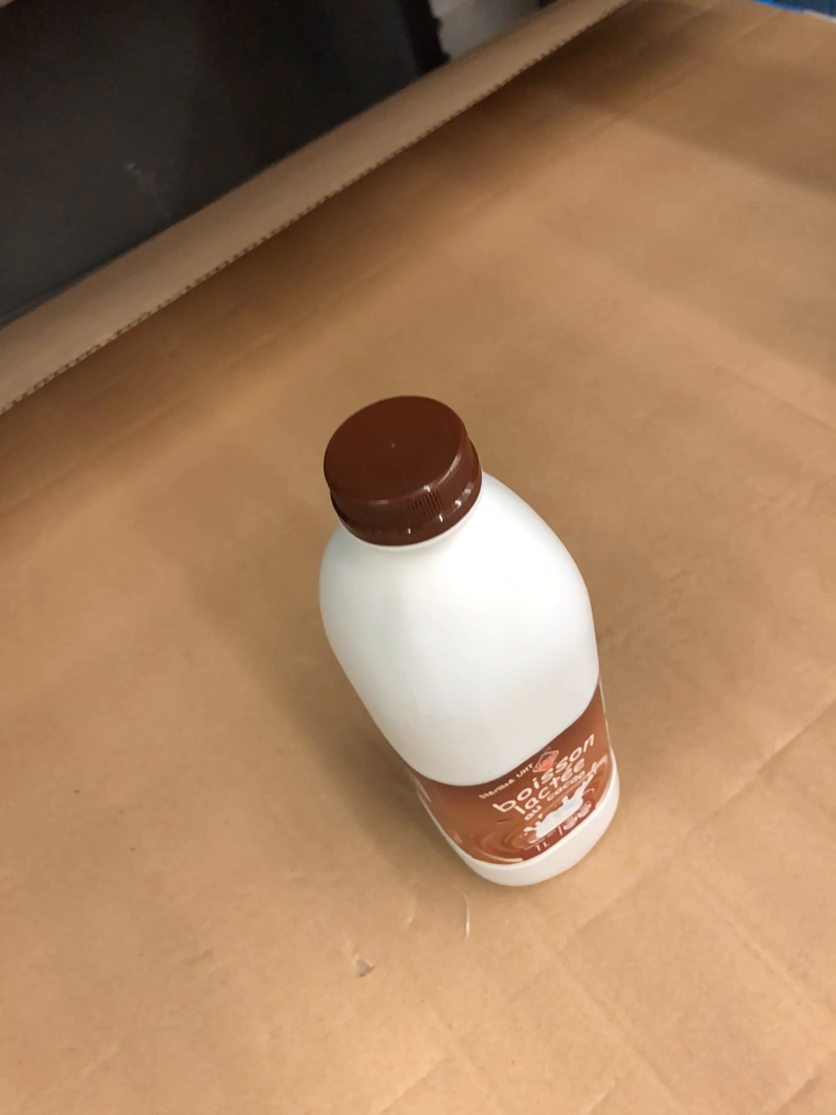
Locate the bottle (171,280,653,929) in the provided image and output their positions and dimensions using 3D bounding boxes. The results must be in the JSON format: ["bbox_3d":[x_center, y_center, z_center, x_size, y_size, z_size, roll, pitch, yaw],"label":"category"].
[{"bbox_3d":[0.019,0.038,0.330,0.090,0.239,0.080,-38,54,-13],"label":"bottle"}]
